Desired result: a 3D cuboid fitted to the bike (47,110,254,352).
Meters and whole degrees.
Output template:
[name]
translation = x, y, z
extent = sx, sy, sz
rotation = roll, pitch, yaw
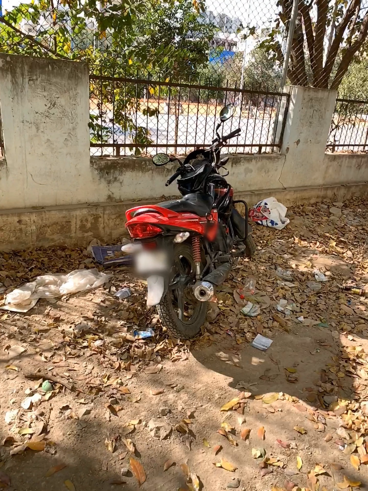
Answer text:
[bike]
translation = -0.124, -0.248, 2.513
extent = 0.822, 1.068, 1.295
rotation = 11, 25, 15
